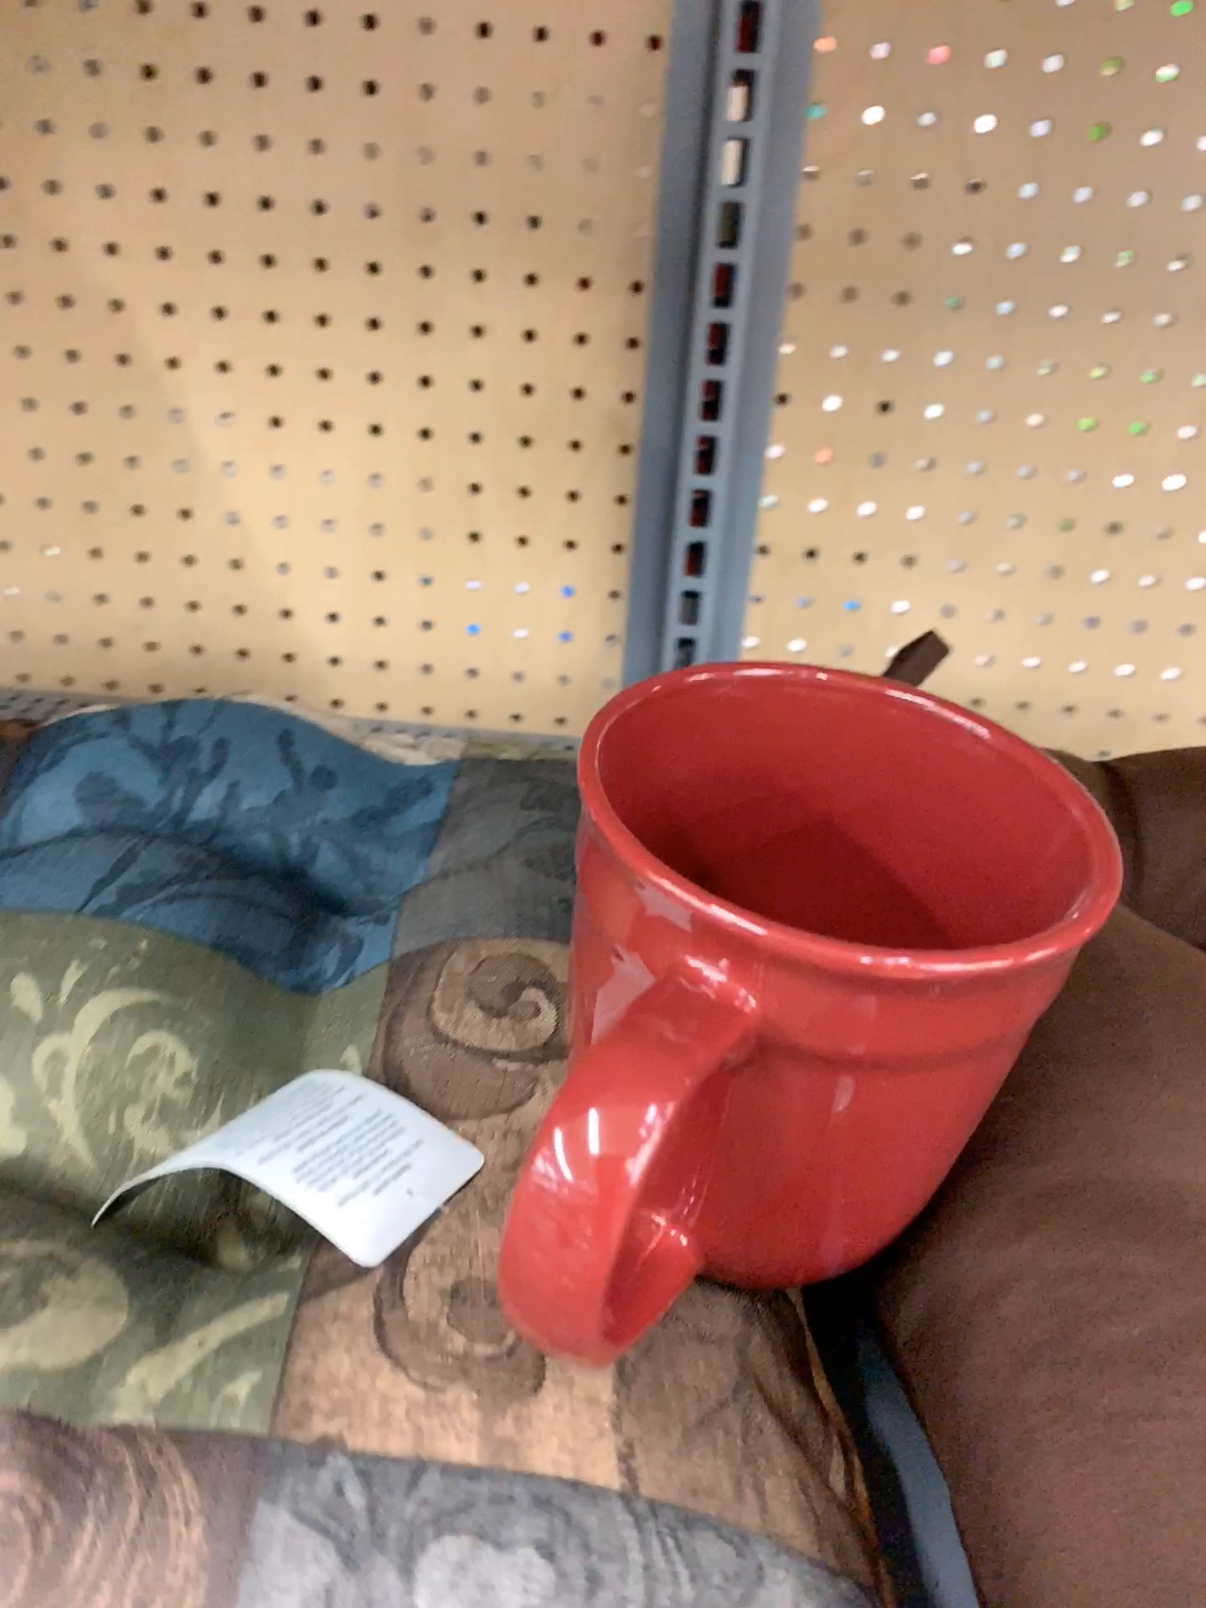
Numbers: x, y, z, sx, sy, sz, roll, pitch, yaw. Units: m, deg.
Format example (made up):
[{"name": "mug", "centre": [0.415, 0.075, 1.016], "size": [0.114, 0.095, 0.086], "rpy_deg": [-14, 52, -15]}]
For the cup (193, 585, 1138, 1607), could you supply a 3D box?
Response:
[{"name": "cup", "centre": [0.020, 0.040, 0.224], "size": [0.100, 0.090, 0.151], "rpy_deg": [22, 35, 18]}]
